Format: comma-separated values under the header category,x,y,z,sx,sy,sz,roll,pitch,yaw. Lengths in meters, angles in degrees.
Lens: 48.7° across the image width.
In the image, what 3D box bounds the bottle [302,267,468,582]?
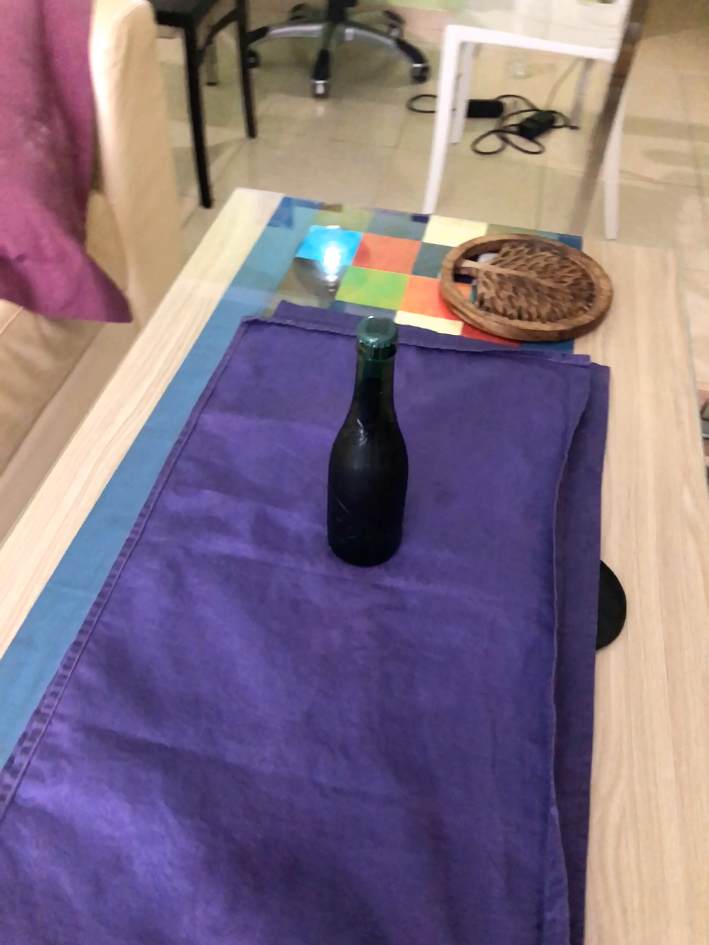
category,x,y,z,sx,sy,sz,roll,pitch,yaw
bottle,0.016,-0.026,0.573,0.080,0.219,0.070,27,51,21
